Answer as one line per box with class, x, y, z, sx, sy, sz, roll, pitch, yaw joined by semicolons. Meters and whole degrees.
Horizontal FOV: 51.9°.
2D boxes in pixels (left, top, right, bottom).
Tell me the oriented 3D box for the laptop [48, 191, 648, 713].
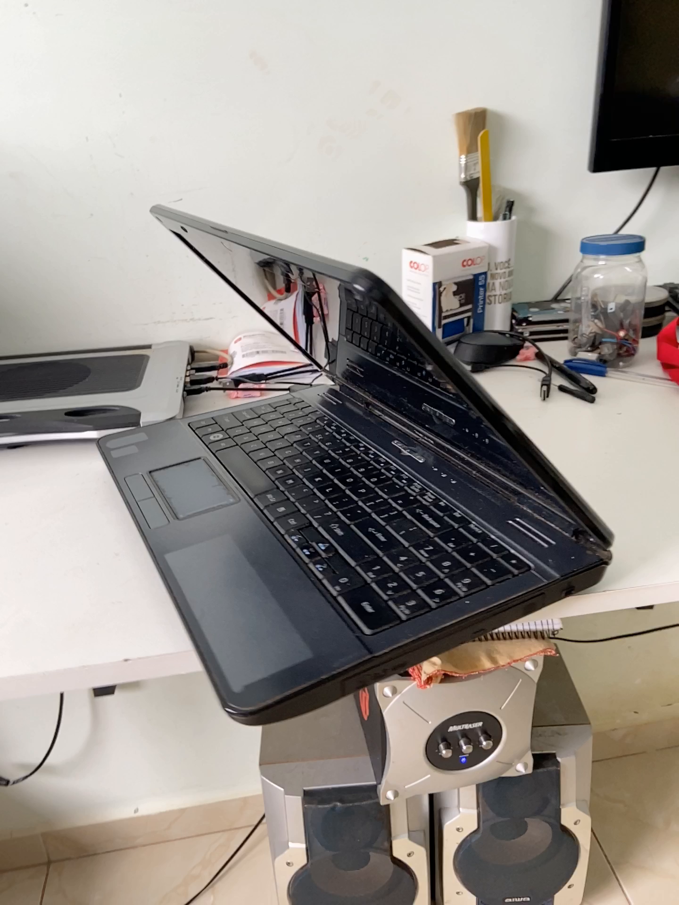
laptop;-0.034;-0.059;0.477;0.233;0.183;0.367;-16;28;-23
